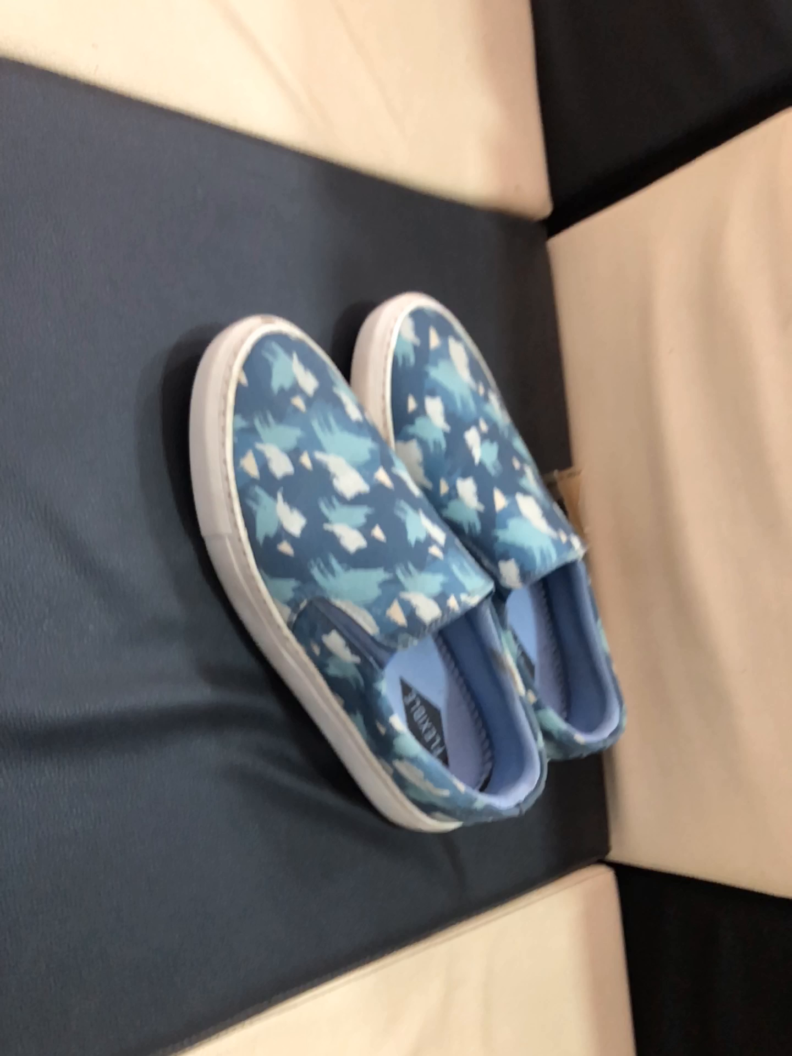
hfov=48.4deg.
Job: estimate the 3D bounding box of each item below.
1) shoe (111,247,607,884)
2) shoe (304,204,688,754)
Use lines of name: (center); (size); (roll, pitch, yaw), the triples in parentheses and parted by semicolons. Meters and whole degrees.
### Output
shoe: (-0.010, 0.021, 0.452); (0.121, 0.089, 0.280); (-35, 106, -37)
shoe: (0.066, -0.024, 0.499); (0.111, 0.060, 0.280); (-35, 106, -37)
